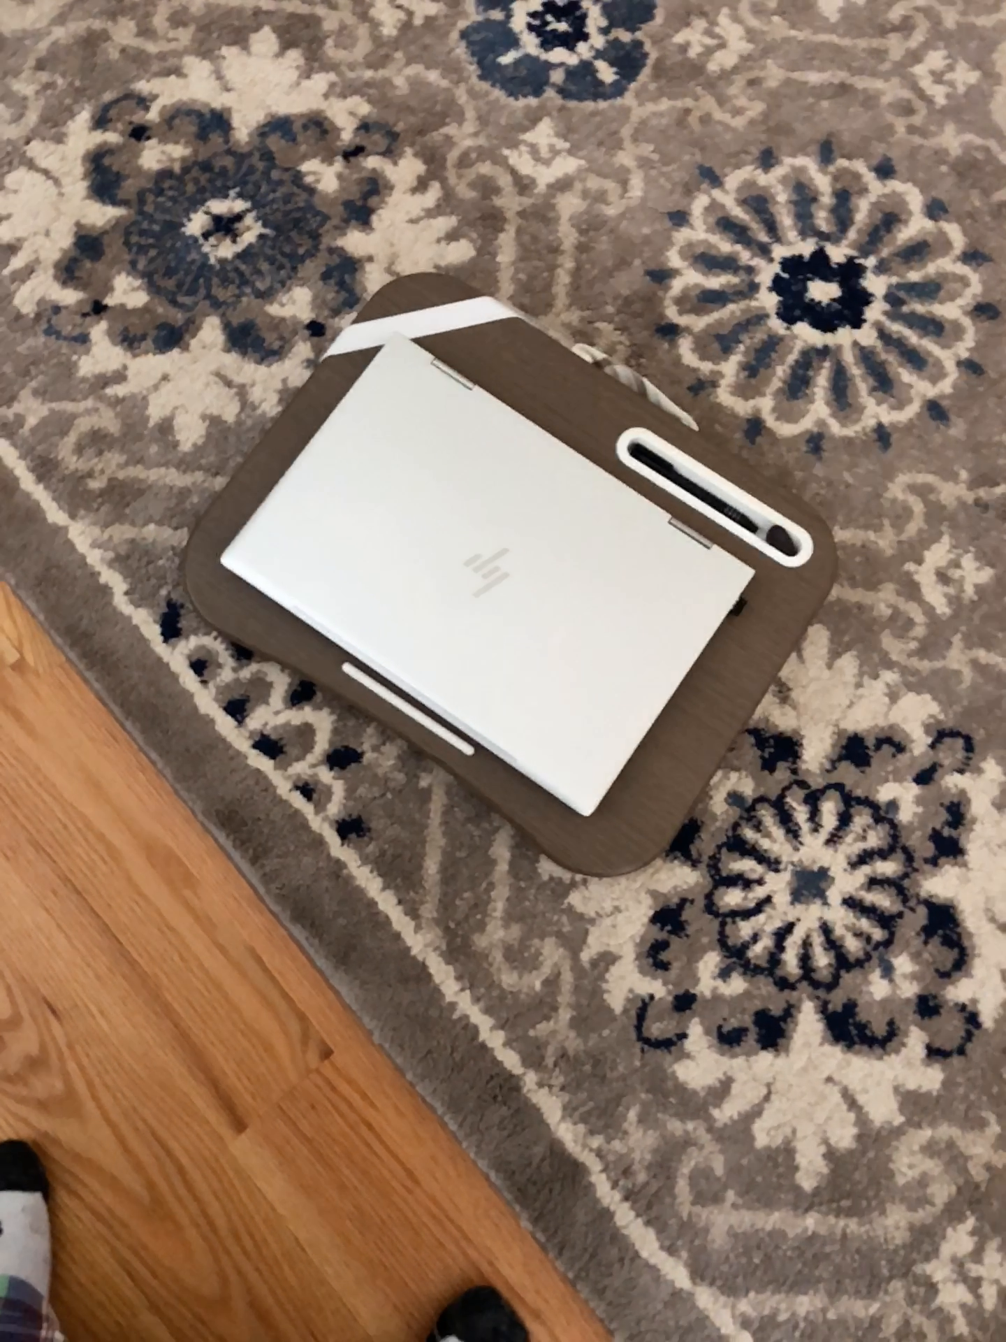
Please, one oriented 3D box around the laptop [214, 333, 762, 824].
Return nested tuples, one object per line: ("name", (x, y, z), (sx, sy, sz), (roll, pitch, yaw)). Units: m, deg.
("laptop", (-0.012, -0.080, 0.880), (0.354, 0.026, 0.241), (34, 78, 6))
